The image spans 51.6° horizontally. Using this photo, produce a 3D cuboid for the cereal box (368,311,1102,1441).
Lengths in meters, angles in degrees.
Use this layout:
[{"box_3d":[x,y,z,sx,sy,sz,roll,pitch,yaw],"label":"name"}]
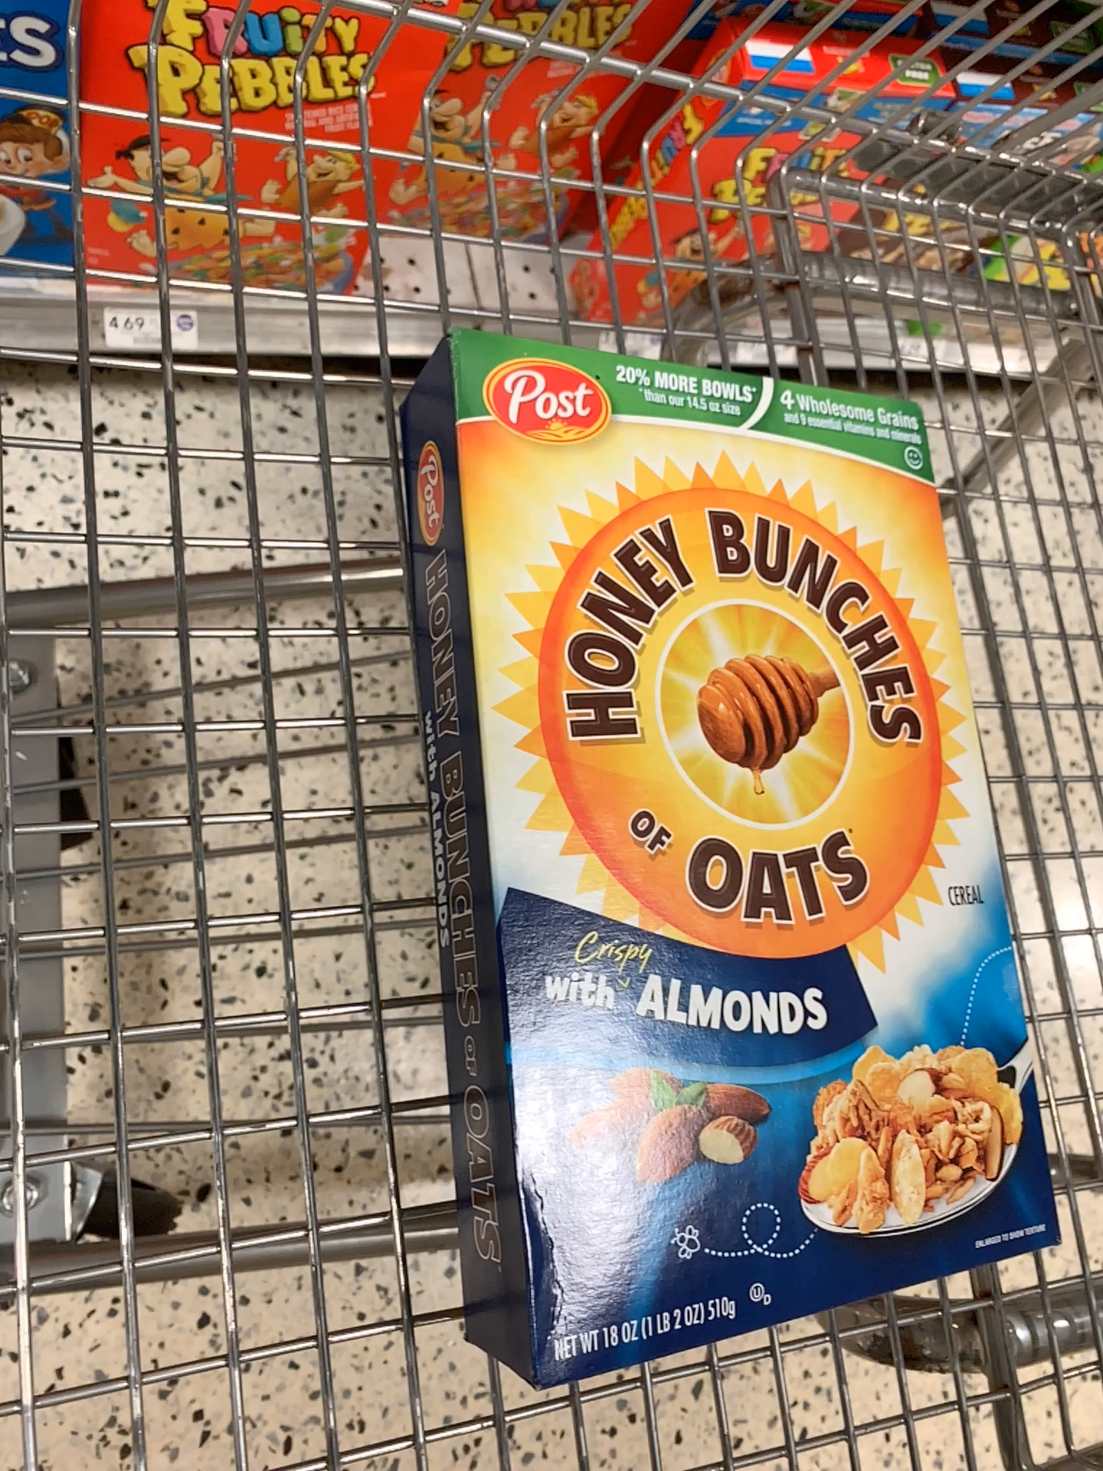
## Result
[{"box_3d":[0.060,0.028,0.374,0.211,0.060,0.301,0,76,-25],"label":"cereal box"}]
